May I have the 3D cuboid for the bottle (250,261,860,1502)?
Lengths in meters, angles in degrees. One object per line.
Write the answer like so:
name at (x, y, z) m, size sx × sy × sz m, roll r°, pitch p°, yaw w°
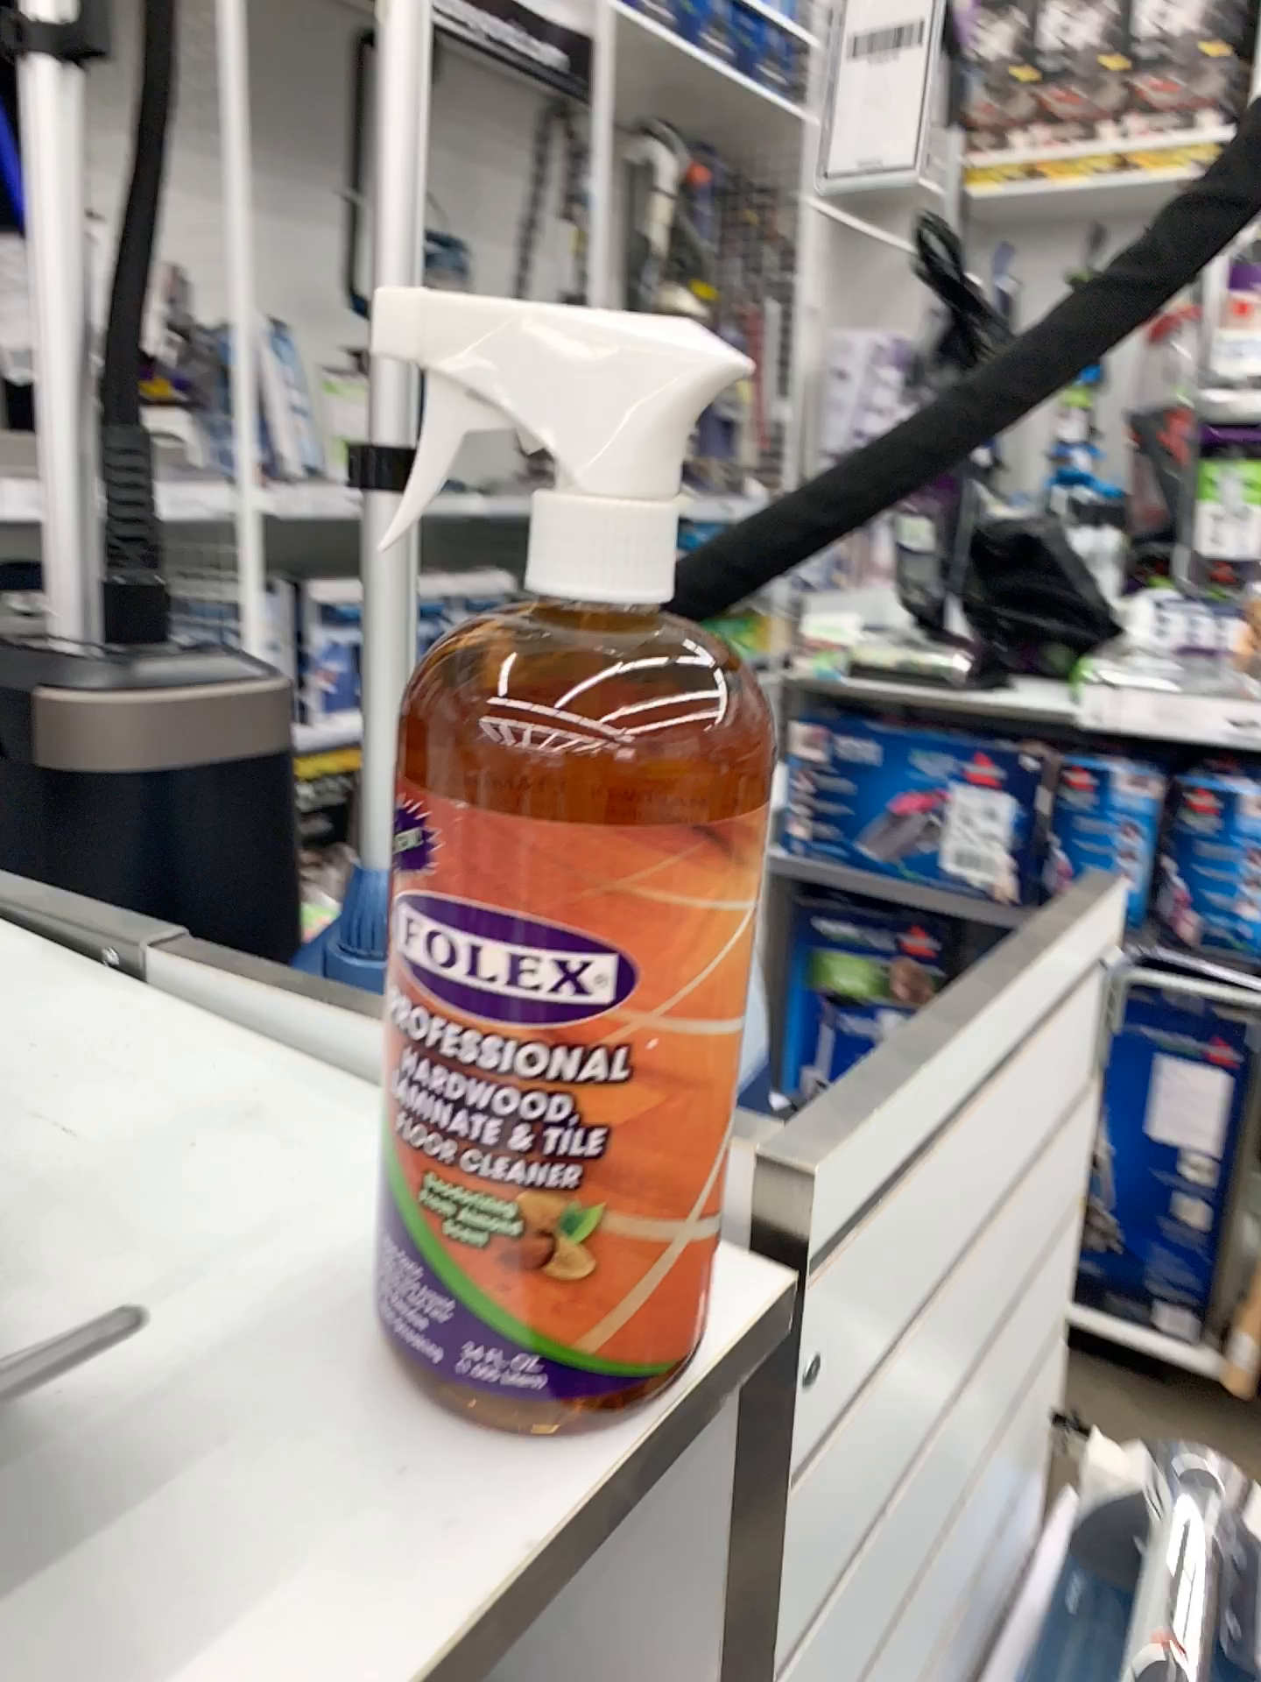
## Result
bottle at (-0.016, 0.005, 0.310) m, size 0.100 × 0.249 × 0.090 m, roll 9°, pitch 16°, yaw 23°
